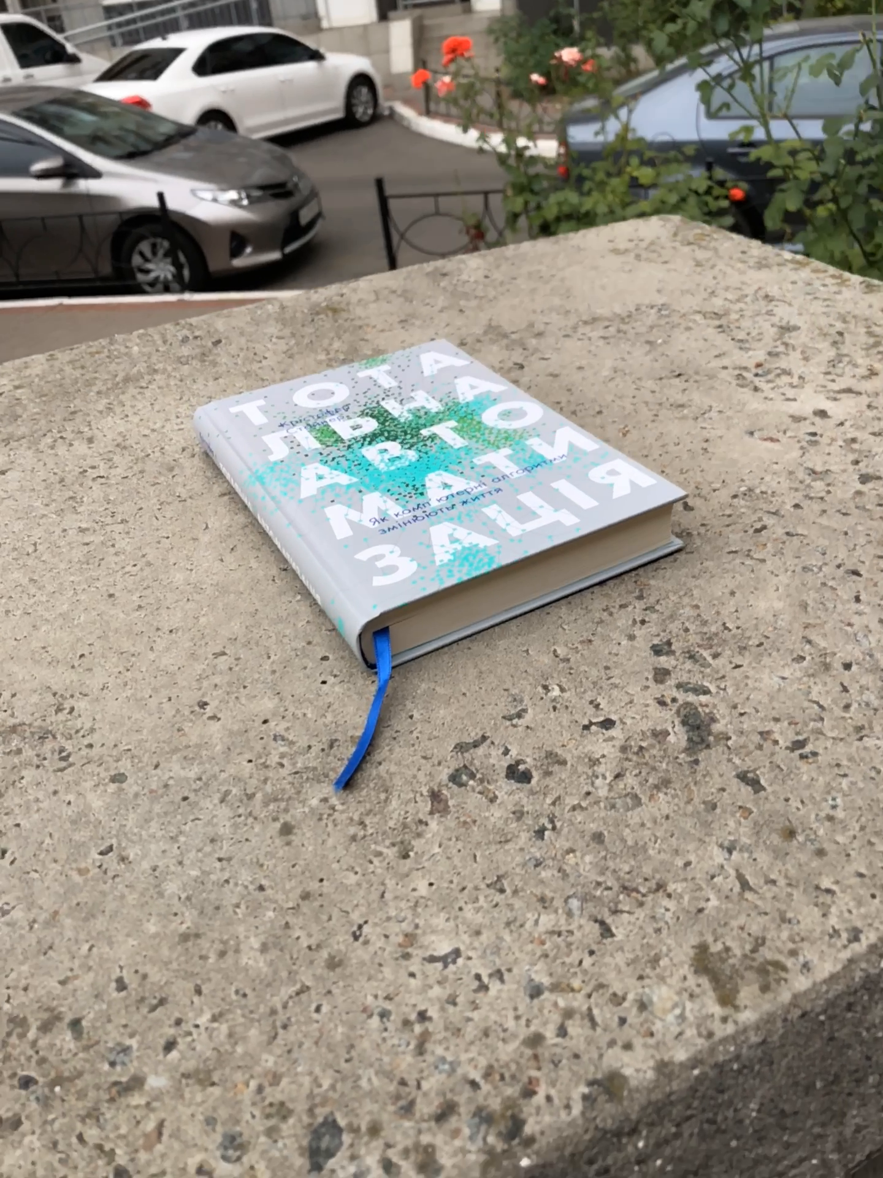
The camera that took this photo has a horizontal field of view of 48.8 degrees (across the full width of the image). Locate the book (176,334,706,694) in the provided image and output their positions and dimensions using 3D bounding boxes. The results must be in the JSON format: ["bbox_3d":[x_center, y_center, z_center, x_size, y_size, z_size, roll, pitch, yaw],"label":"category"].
[{"bbox_3d":[-0.014,-0.054,0.450,0.156,0.030,0.222,-21,37,-20],"label":"book"}]
